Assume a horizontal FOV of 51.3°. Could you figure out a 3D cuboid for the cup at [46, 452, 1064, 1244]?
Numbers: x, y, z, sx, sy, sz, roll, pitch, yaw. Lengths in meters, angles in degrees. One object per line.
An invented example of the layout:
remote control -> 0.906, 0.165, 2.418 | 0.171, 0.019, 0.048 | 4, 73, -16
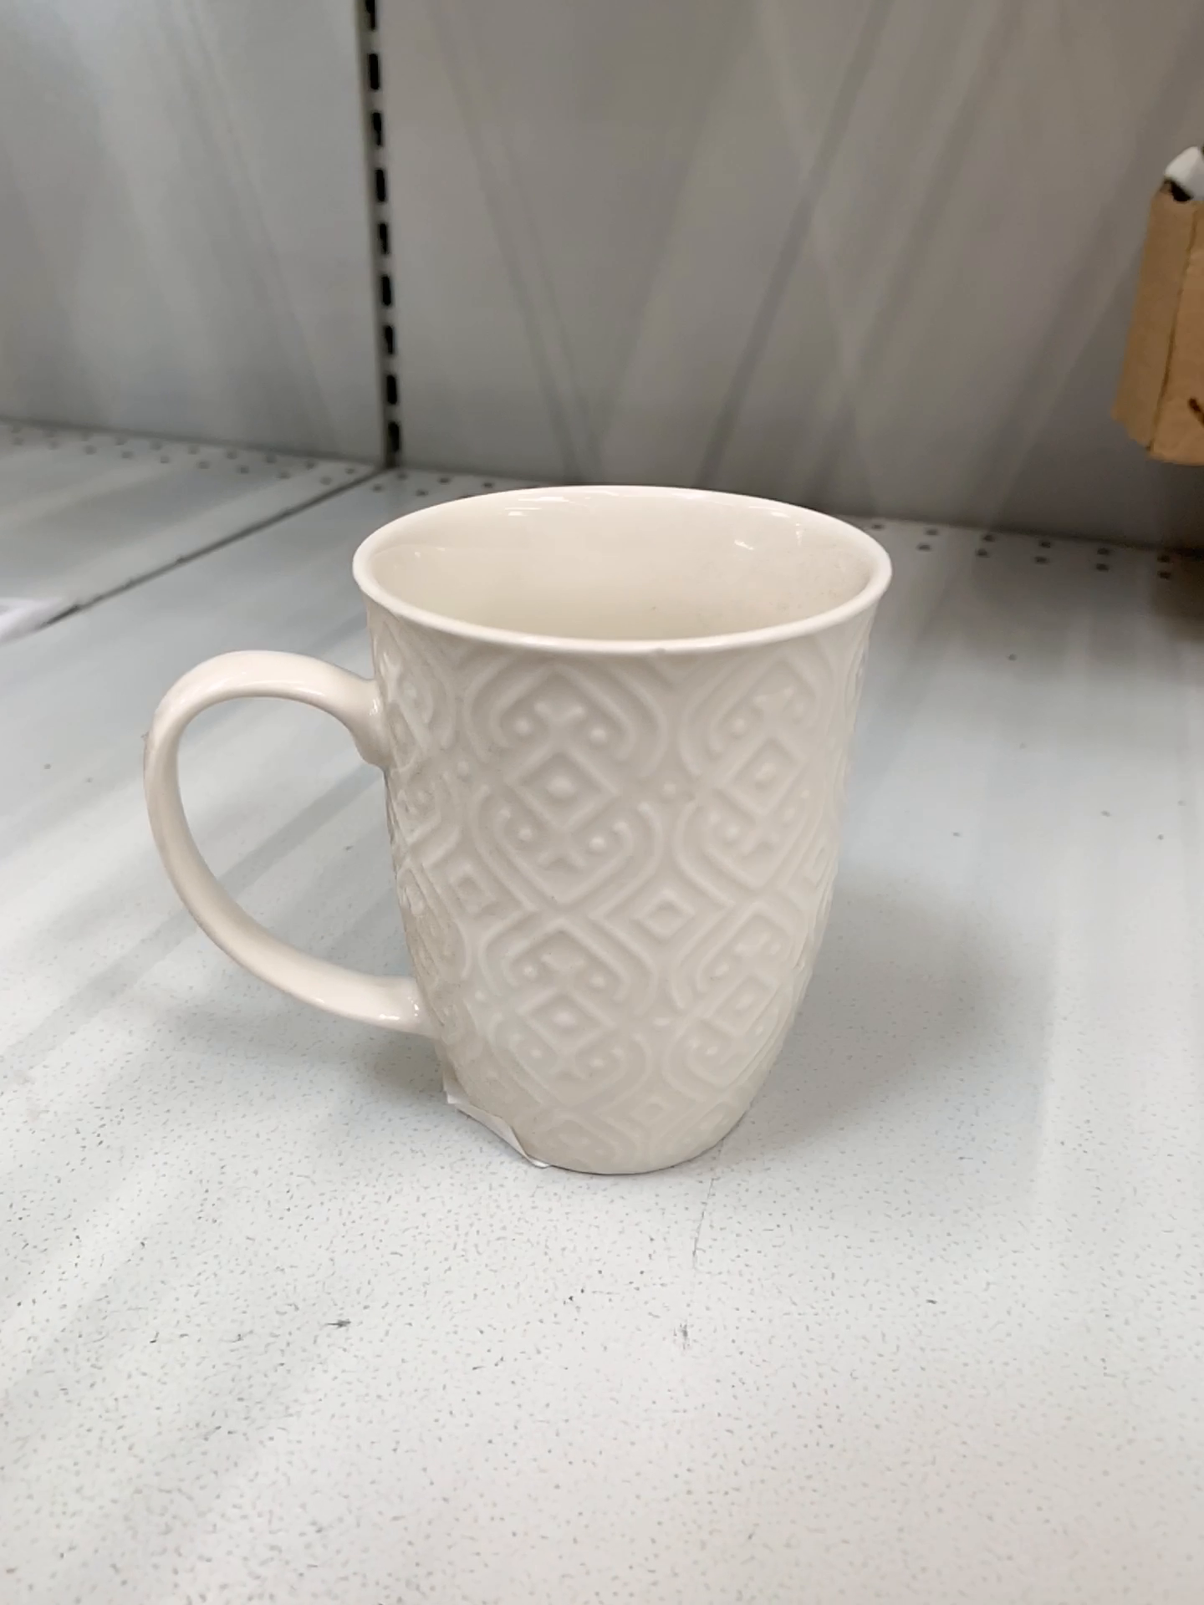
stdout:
cup -> -0.004, 0.000, 0.223 | 0.131, 0.098, 0.092 | 4, 28, 6
